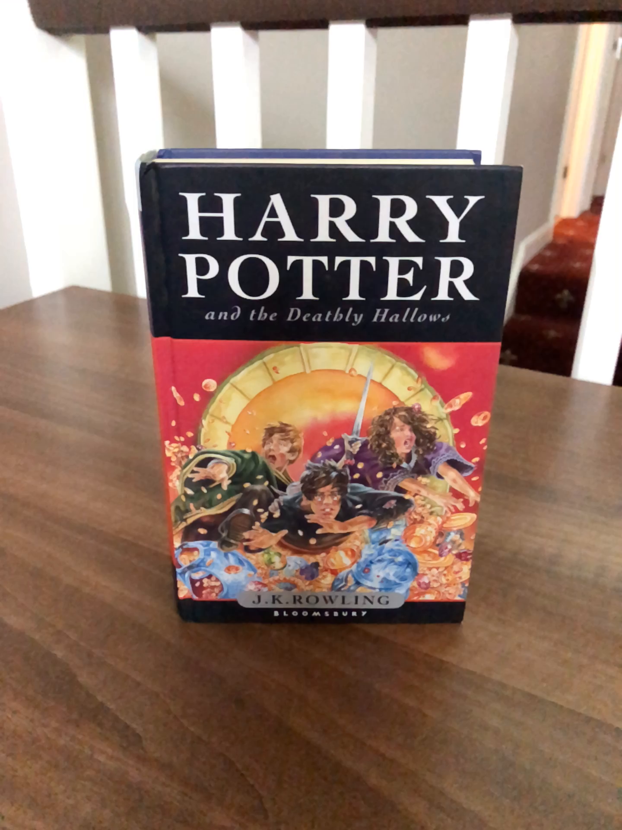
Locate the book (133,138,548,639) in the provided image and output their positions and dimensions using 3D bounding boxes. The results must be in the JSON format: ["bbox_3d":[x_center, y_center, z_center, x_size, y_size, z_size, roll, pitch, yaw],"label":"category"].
[{"bbox_3d":[0.009,-0.006,0.303,0.140,0.209,0.060,1,24,1],"label":"book"}]
